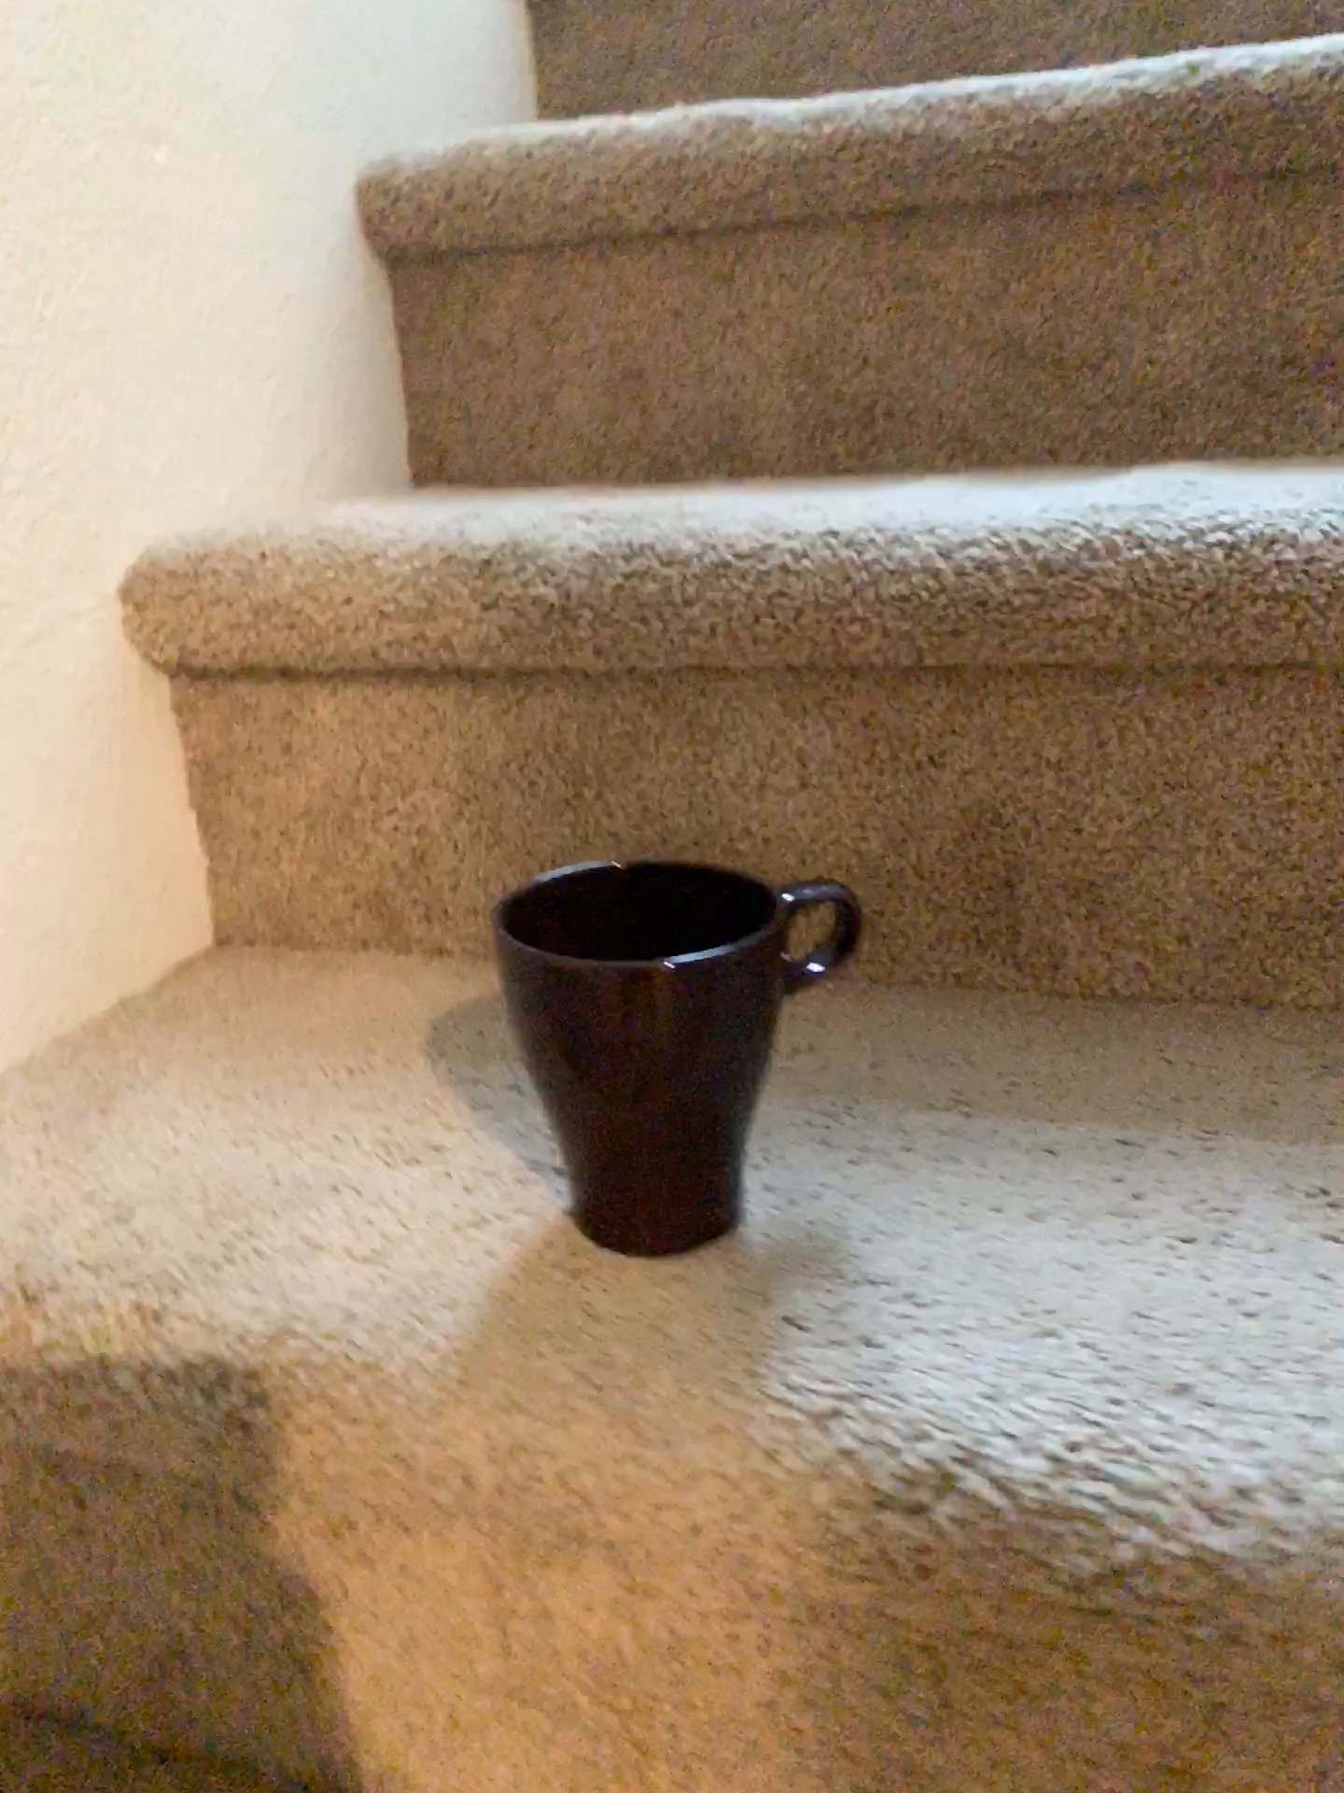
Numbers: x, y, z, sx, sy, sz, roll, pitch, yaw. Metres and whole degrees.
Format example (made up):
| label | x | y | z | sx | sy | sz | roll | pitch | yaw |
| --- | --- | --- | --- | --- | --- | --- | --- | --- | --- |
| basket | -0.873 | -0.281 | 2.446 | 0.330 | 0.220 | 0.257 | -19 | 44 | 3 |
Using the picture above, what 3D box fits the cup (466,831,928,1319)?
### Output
| label | x | y | z | sx | sy | sz | roll | pitch | yaw |
| --- | --- | --- | --- | --- | --- | --- | --- | --- | --- |
| cup | 0.007 | 0.046 | 0.415 | 0.110 | 0.099 | 0.080 | -11 | 19 | -21 |
